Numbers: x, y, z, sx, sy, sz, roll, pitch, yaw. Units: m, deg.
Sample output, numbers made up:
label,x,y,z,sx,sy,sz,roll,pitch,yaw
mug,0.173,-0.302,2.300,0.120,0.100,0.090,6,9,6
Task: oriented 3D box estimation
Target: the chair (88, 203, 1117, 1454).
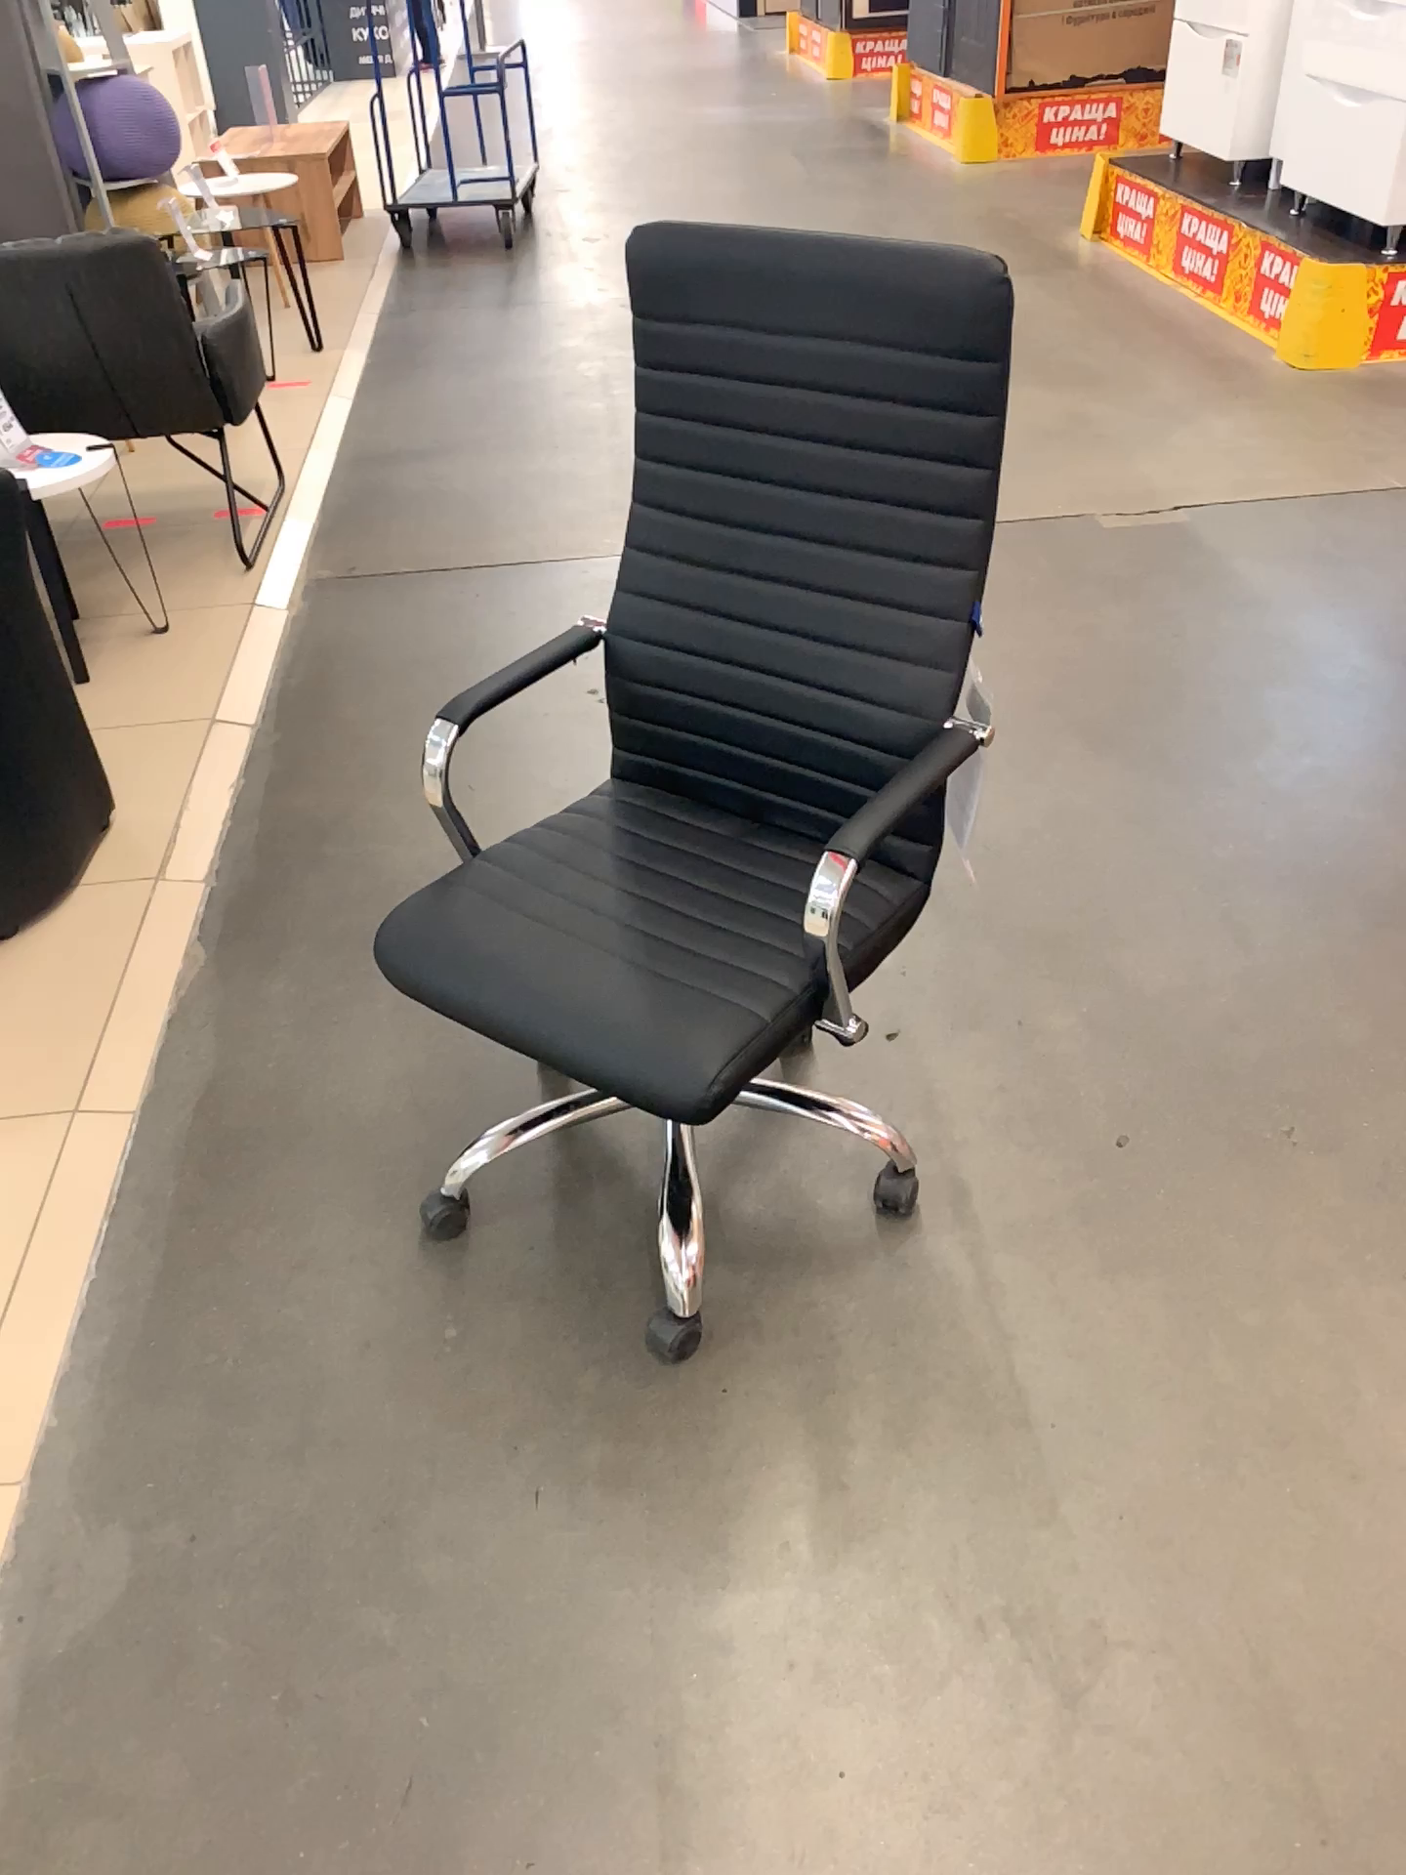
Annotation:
label,x,y,z,sx,sy,sz,roll,pitch,yaw
chair,-0.046,-0.152,1.611,0.652,1.075,0.682,21,43,30
